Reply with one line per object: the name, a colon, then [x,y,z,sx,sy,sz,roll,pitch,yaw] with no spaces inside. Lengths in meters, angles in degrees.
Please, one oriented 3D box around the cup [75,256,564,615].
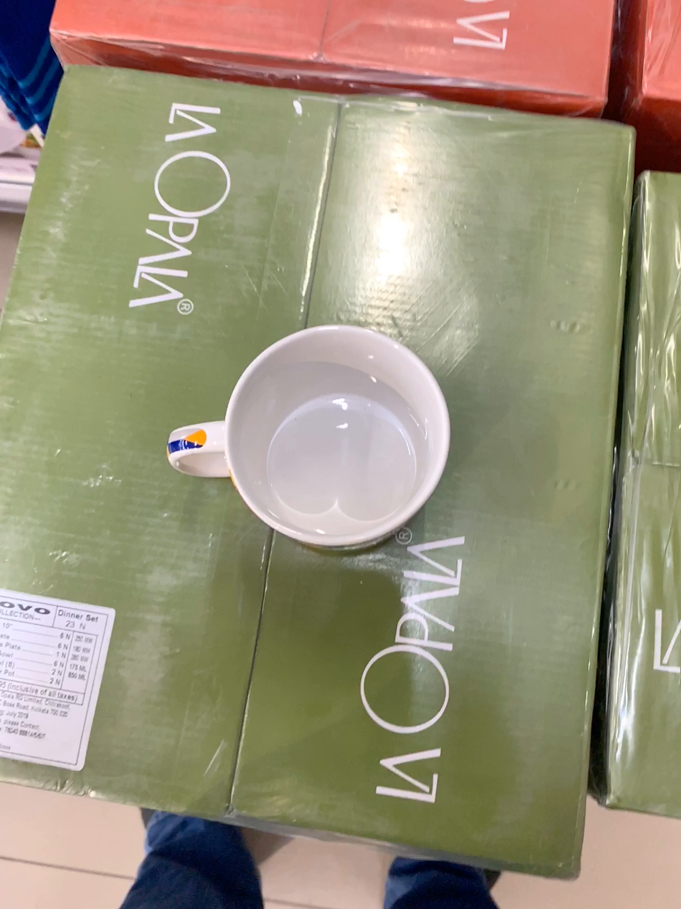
cup: [-0.008,0.003,0.249,0.130,0.100,0.090,-7,78,0]
